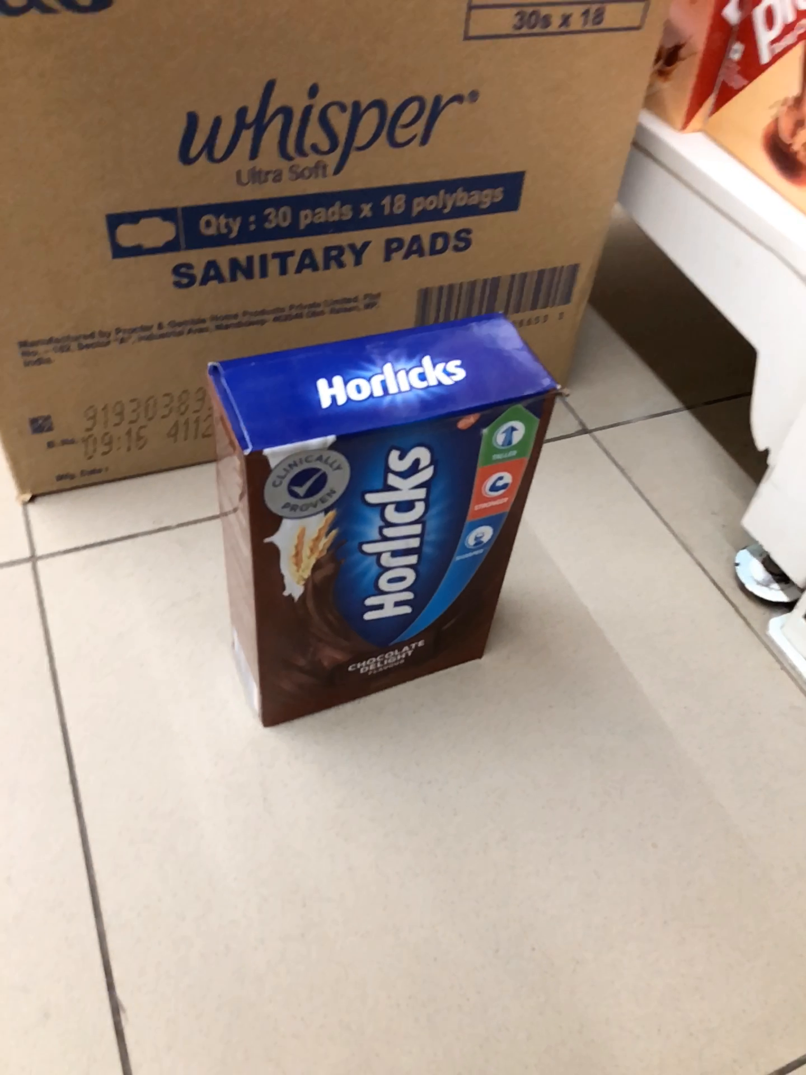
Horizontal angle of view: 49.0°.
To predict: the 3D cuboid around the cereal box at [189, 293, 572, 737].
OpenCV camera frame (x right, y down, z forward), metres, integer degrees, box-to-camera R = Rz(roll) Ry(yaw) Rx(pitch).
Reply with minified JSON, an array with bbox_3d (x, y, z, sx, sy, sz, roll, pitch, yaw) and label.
[{"bbox_3d":[-0.015,-0.003,0.423,0.140,0.199,0.060,-14,50,-18],"label":"cereal box"}]
